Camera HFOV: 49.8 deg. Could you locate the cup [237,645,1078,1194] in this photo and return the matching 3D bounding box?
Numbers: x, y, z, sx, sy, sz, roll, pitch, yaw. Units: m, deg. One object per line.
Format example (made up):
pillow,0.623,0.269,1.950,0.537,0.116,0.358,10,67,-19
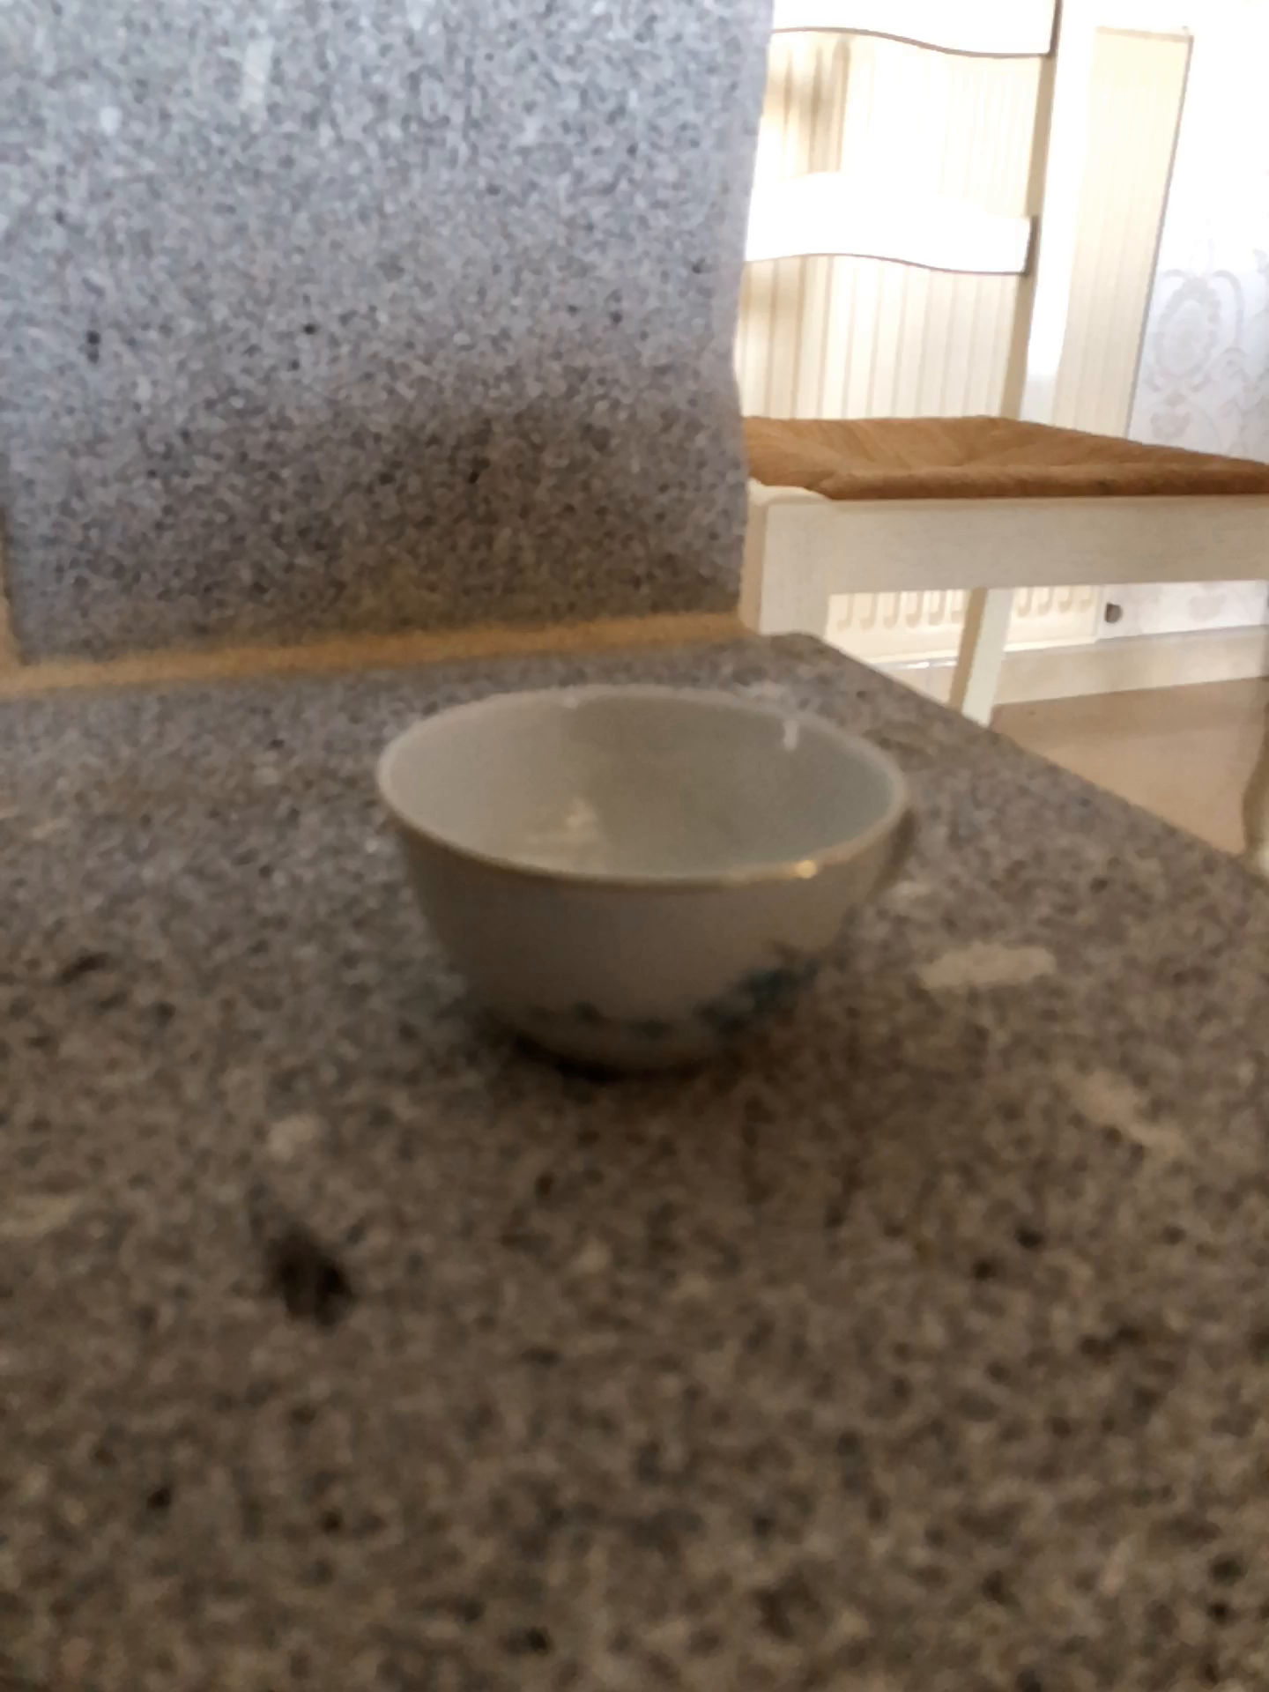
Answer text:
cup,0.001,0.002,0.237,0.110,0.040,0.090,-13,27,-30
